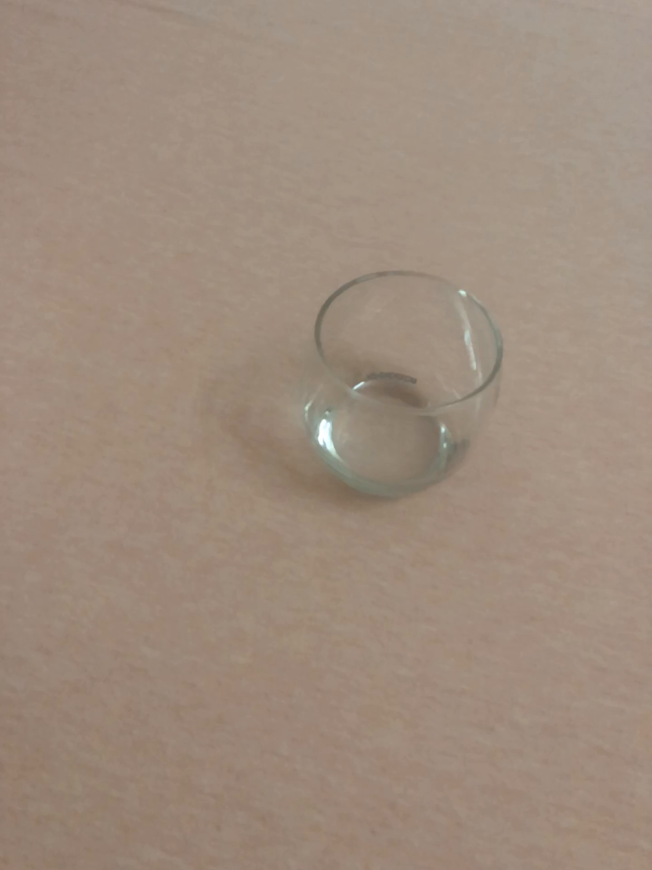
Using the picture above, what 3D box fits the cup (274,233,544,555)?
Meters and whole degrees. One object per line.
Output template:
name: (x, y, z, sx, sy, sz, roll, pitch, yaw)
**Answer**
cup: (0.036, -0.019, 0.354, 0.090, 0.100, 0.090, 2, 55, -3)
